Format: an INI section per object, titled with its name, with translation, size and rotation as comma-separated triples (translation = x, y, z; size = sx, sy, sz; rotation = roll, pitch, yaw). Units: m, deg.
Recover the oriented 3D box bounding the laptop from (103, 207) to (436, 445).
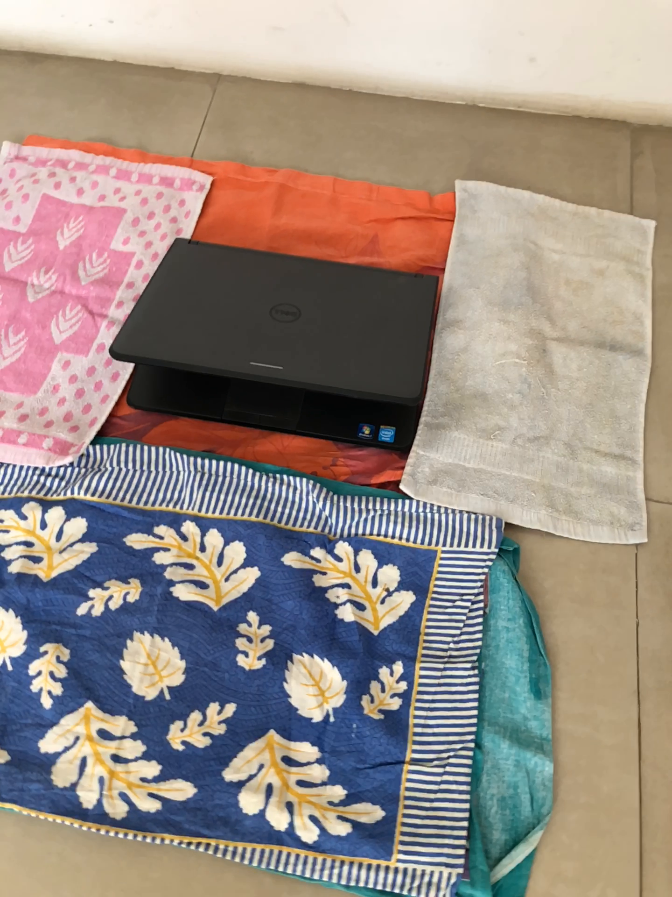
[laptop]
translation = -0.061, -0.141, 0.821
size = 0.314, 0.078, 0.227
rotation = 8, 62, 4
